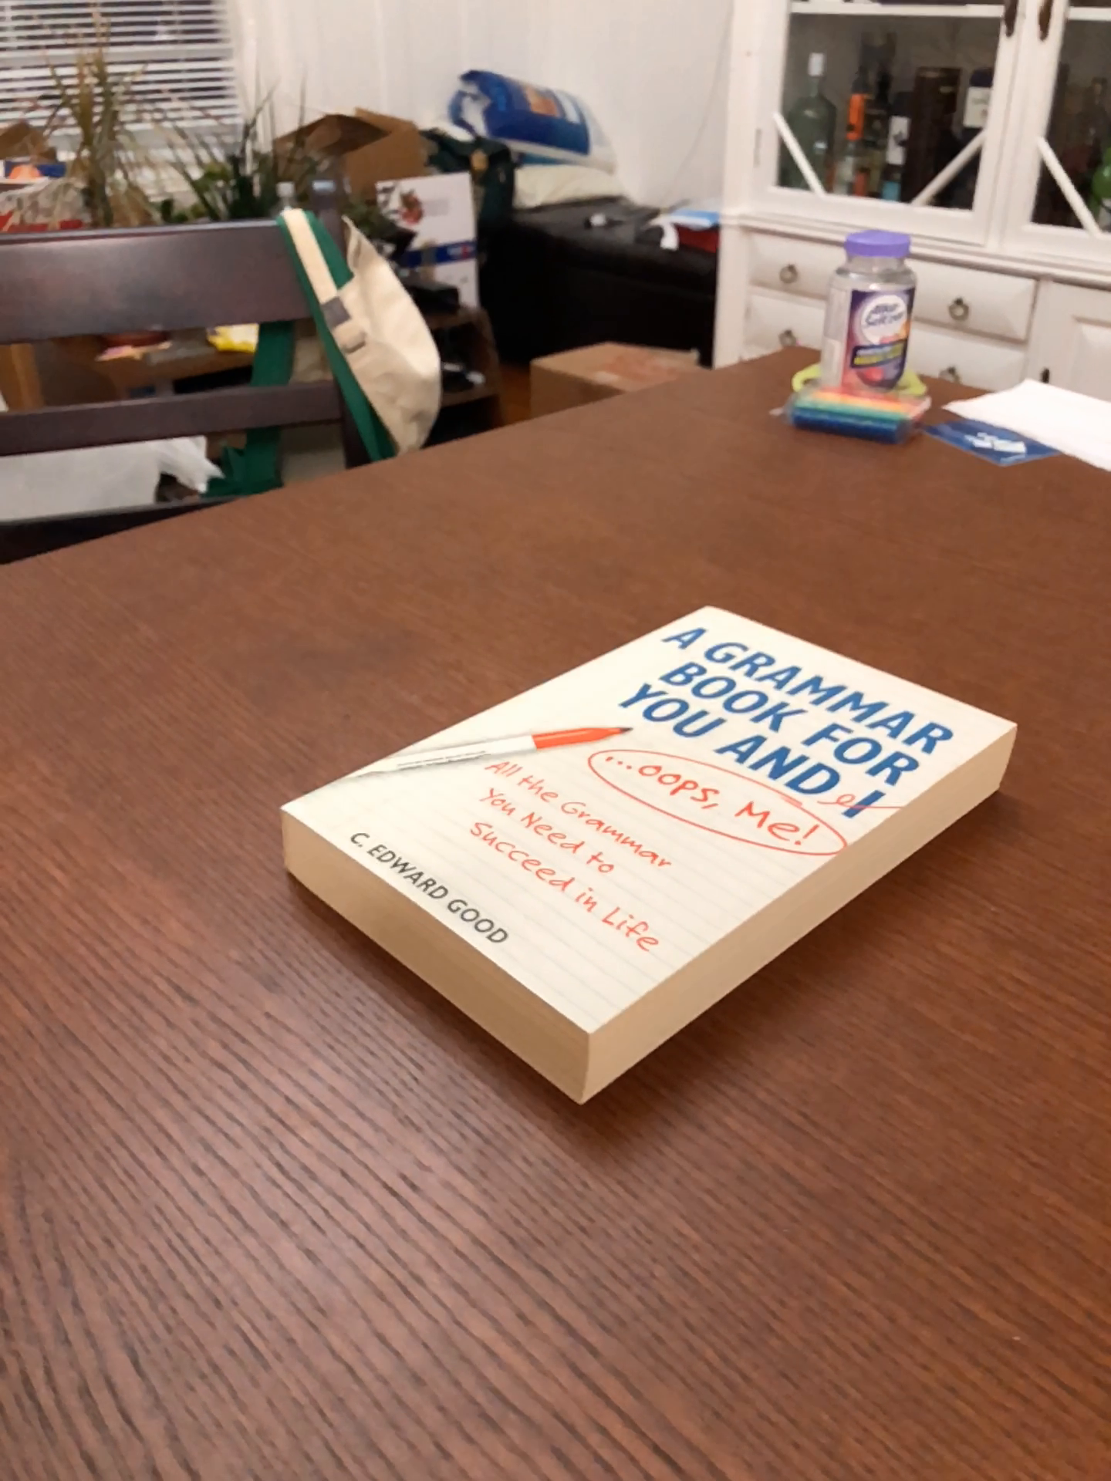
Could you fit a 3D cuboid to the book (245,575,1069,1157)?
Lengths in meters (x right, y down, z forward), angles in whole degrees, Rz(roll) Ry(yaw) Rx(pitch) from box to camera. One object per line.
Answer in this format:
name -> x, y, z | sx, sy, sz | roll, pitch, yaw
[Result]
book -> 0.041, 0.018, 0.441 | 0.241, 0.040, 0.170 | -27, 40, -35
